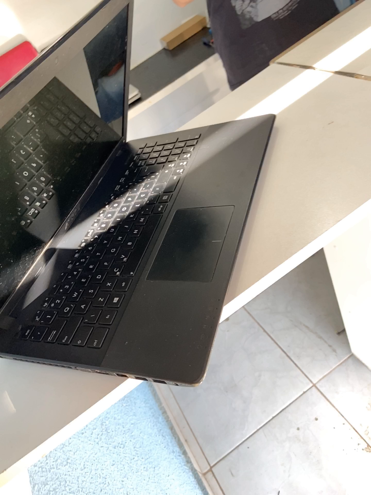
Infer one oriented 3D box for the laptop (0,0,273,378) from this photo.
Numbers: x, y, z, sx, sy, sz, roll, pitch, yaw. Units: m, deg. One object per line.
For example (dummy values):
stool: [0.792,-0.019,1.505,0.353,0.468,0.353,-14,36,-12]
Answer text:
laptop: [-0.085,-0.100,0.399,0.239,0.190,0.374,-2,47,29]
